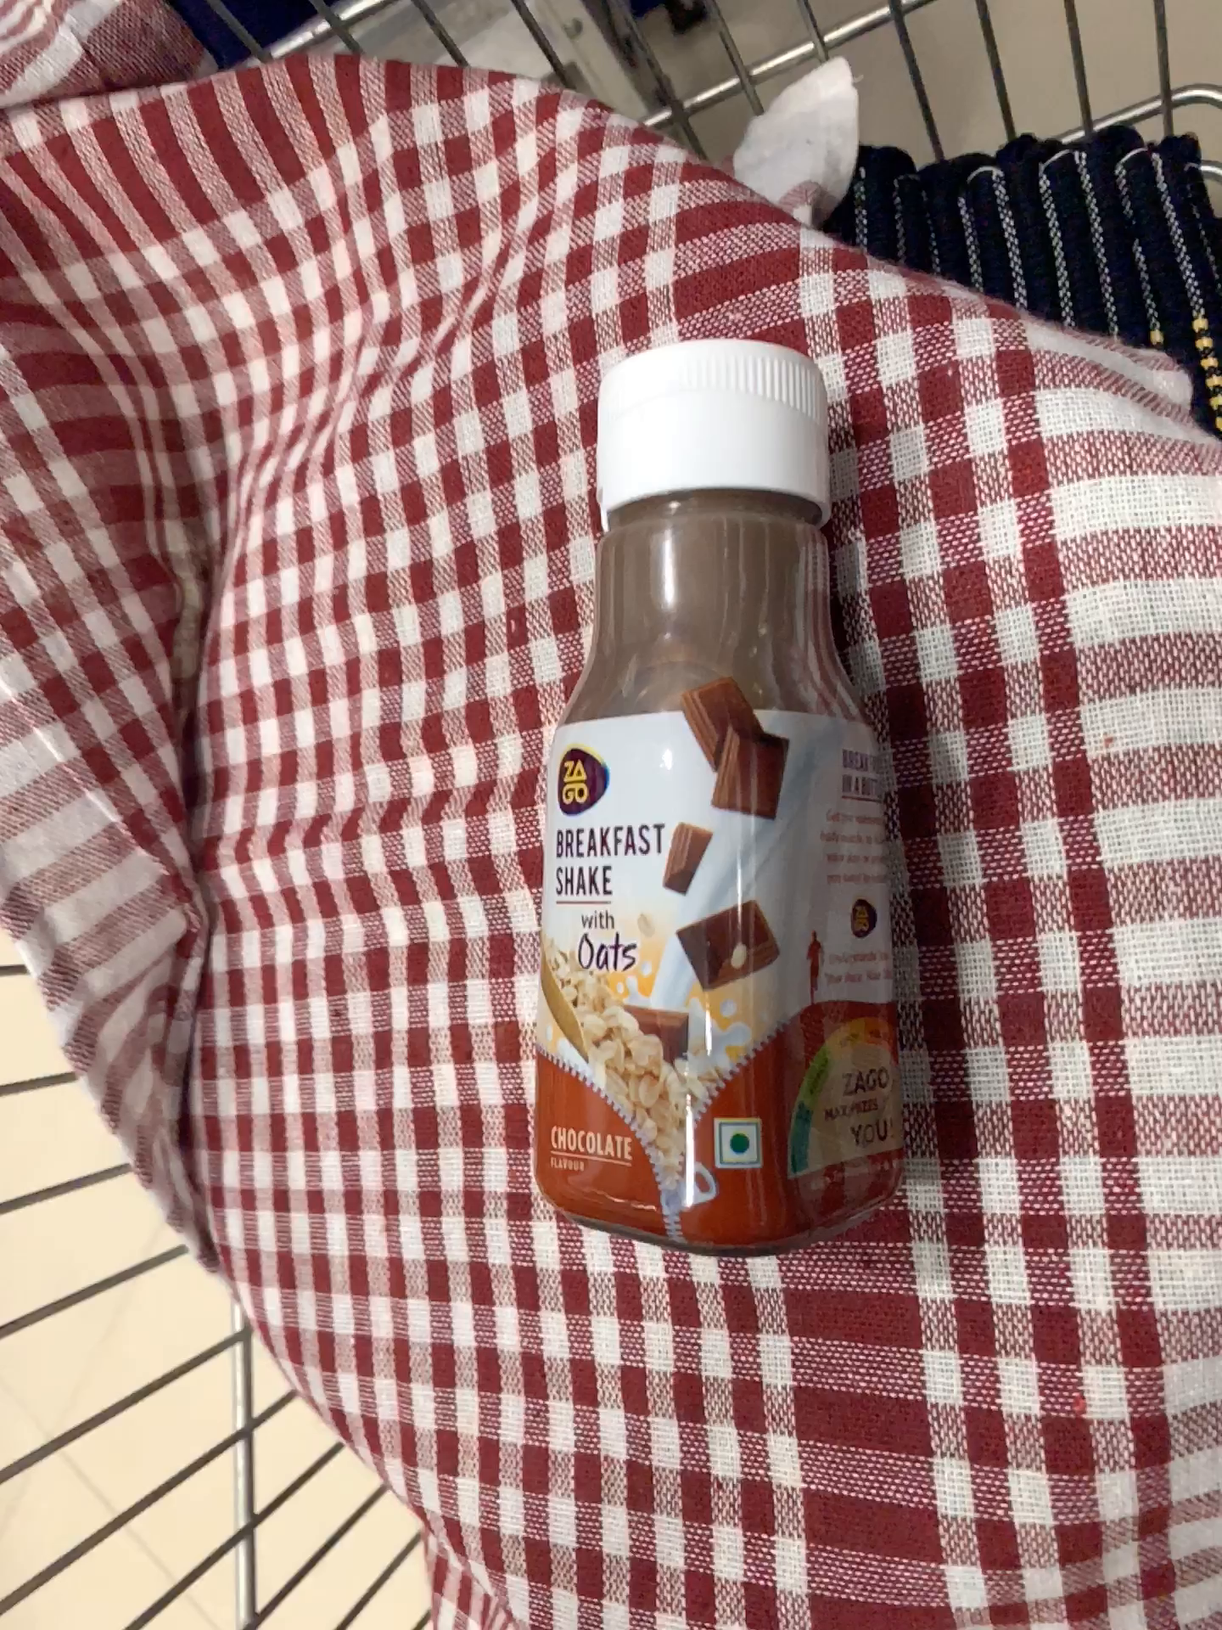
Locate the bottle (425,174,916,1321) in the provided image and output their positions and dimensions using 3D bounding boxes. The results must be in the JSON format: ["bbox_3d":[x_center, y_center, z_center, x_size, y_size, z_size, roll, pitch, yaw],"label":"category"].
[{"bbox_3d":[0.010,-0.009,0.204,0.060,0.050,0.150,0,91,37],"label":"bottle"}]
